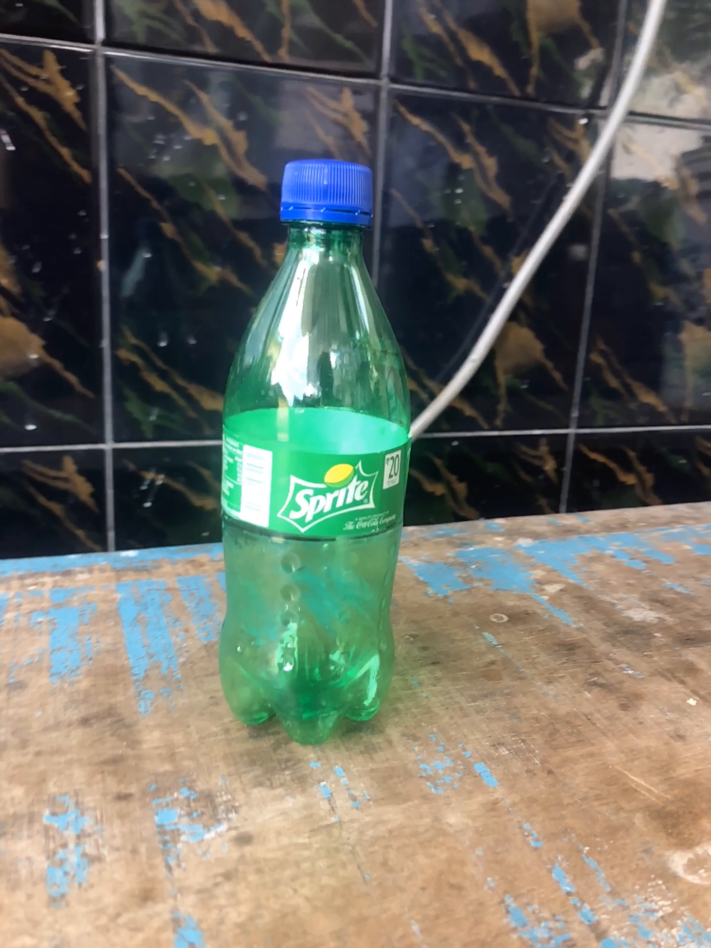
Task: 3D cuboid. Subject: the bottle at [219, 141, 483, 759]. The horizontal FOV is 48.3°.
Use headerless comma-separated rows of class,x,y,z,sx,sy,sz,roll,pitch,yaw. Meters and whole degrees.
bottle,-0.008,-0.005,0.229,0.060,0.159,0.050,-1,15,-13
